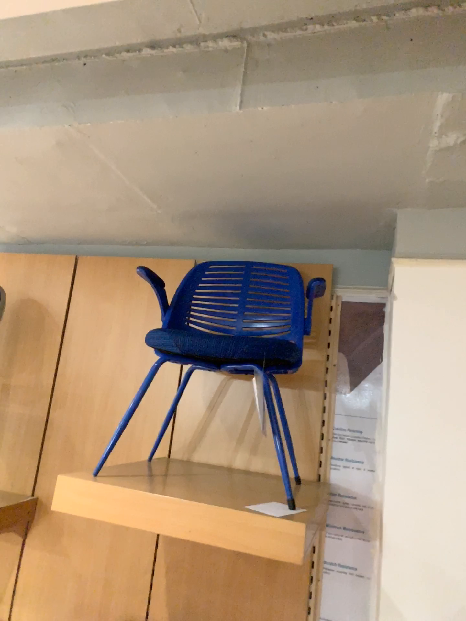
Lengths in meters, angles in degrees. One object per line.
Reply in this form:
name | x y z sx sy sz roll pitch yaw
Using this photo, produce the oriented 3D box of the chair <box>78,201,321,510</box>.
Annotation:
chair | -0.036 0.133 1.548 0.570 0.792 0.549 4 -11 12
